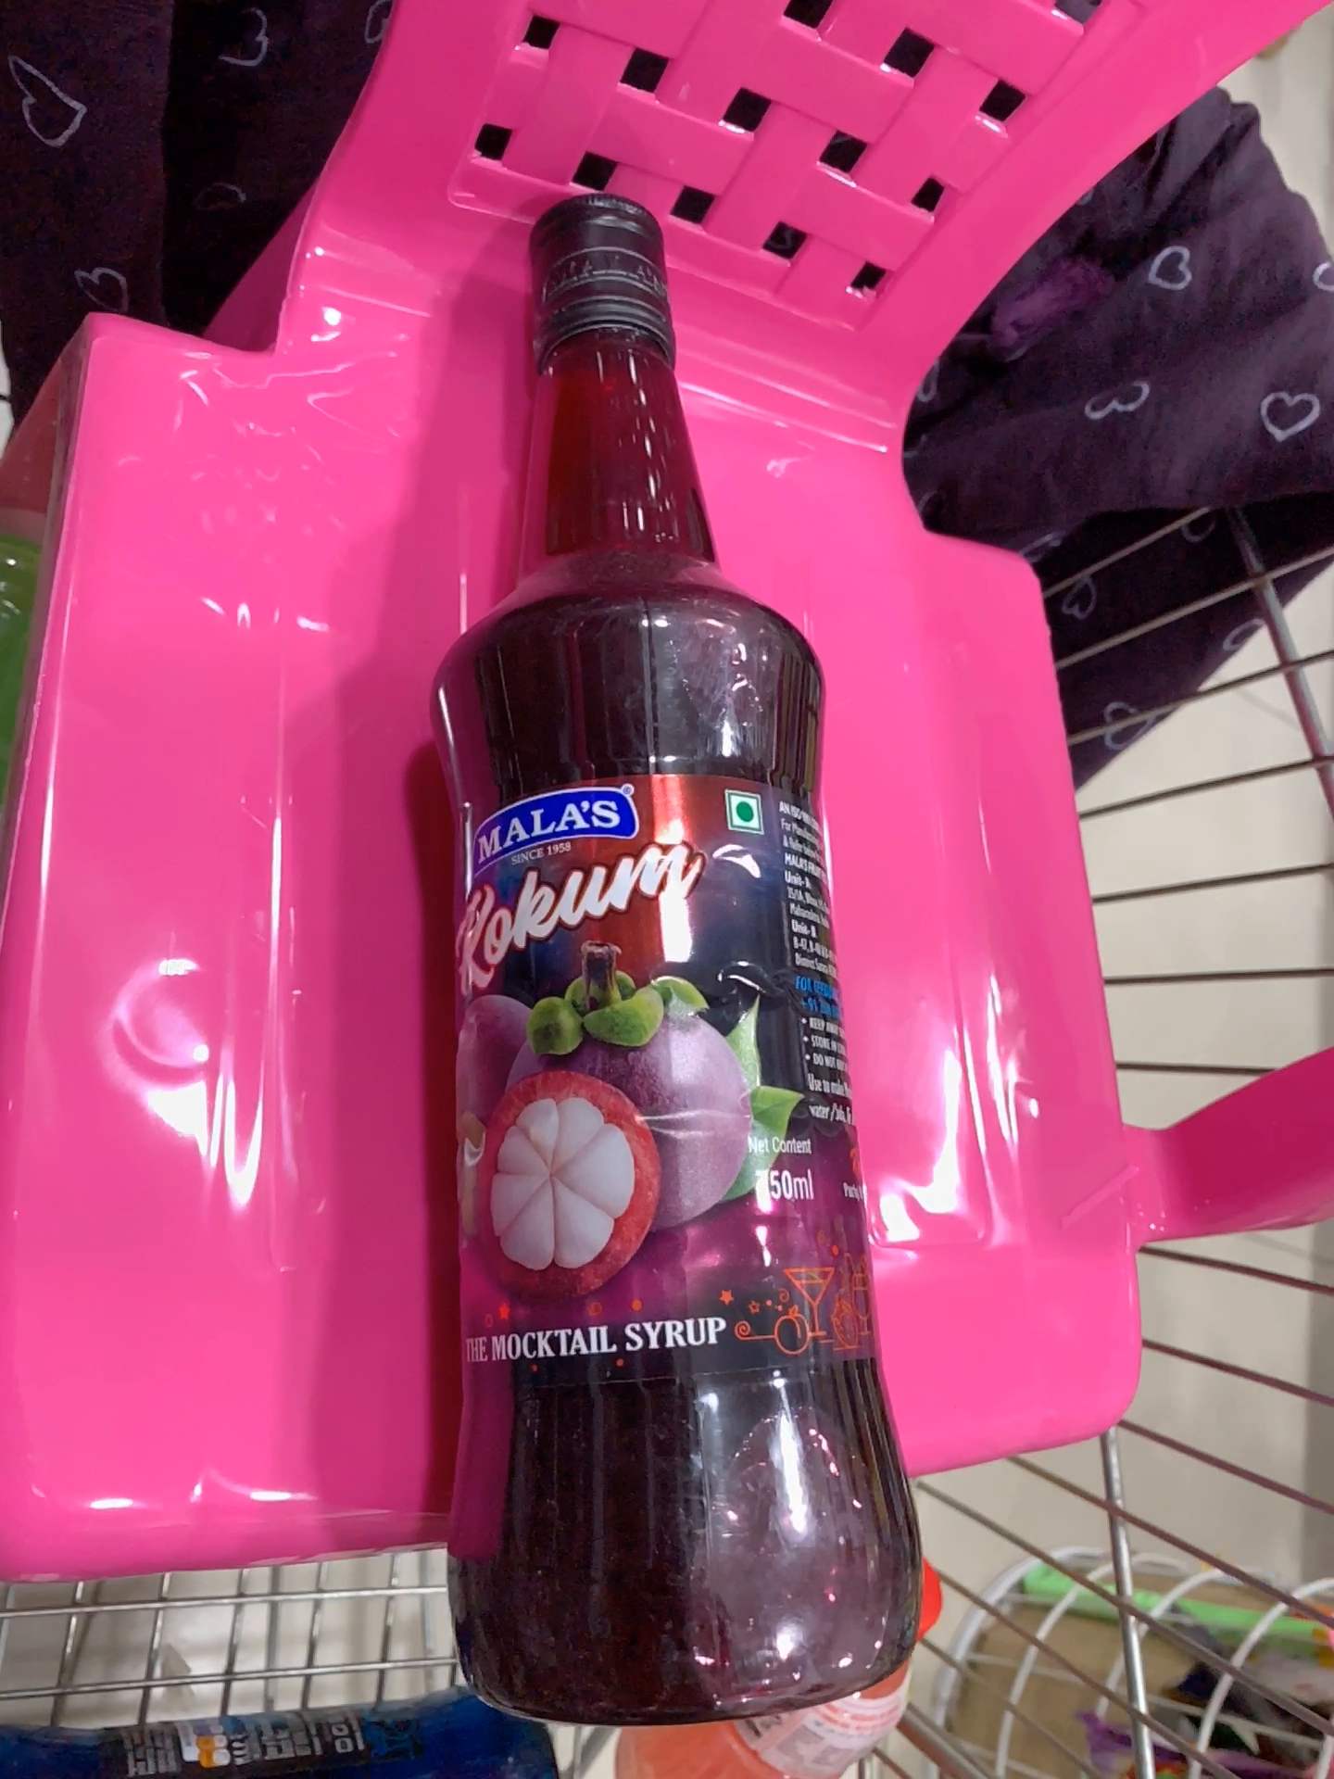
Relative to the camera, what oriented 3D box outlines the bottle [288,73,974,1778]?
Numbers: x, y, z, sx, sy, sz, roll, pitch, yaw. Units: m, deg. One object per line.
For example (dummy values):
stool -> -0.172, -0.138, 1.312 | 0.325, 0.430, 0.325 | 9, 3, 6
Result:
bottle -> -0.006, 0.000, 0.258 | 0.080, 0.080, 0.260 | 20, 64, -54
